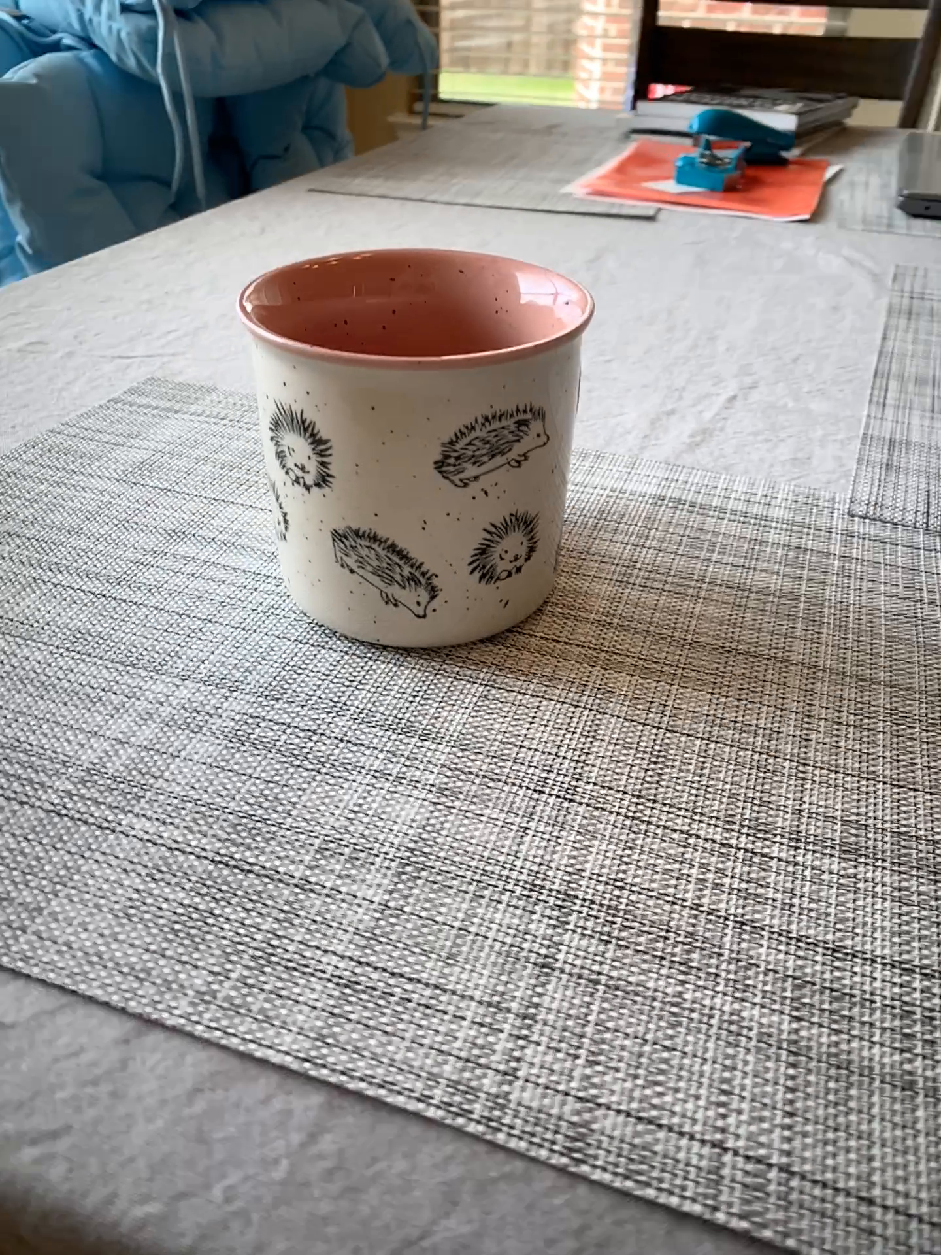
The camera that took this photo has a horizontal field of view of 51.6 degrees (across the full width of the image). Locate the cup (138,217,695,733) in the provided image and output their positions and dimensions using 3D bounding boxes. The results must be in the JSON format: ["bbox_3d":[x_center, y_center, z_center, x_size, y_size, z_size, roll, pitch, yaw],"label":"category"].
[{"bbox_3d":[-0.009,-0.066,0.342,0.121,0.106,0.151,17,38,21],"label":"cup"}]
